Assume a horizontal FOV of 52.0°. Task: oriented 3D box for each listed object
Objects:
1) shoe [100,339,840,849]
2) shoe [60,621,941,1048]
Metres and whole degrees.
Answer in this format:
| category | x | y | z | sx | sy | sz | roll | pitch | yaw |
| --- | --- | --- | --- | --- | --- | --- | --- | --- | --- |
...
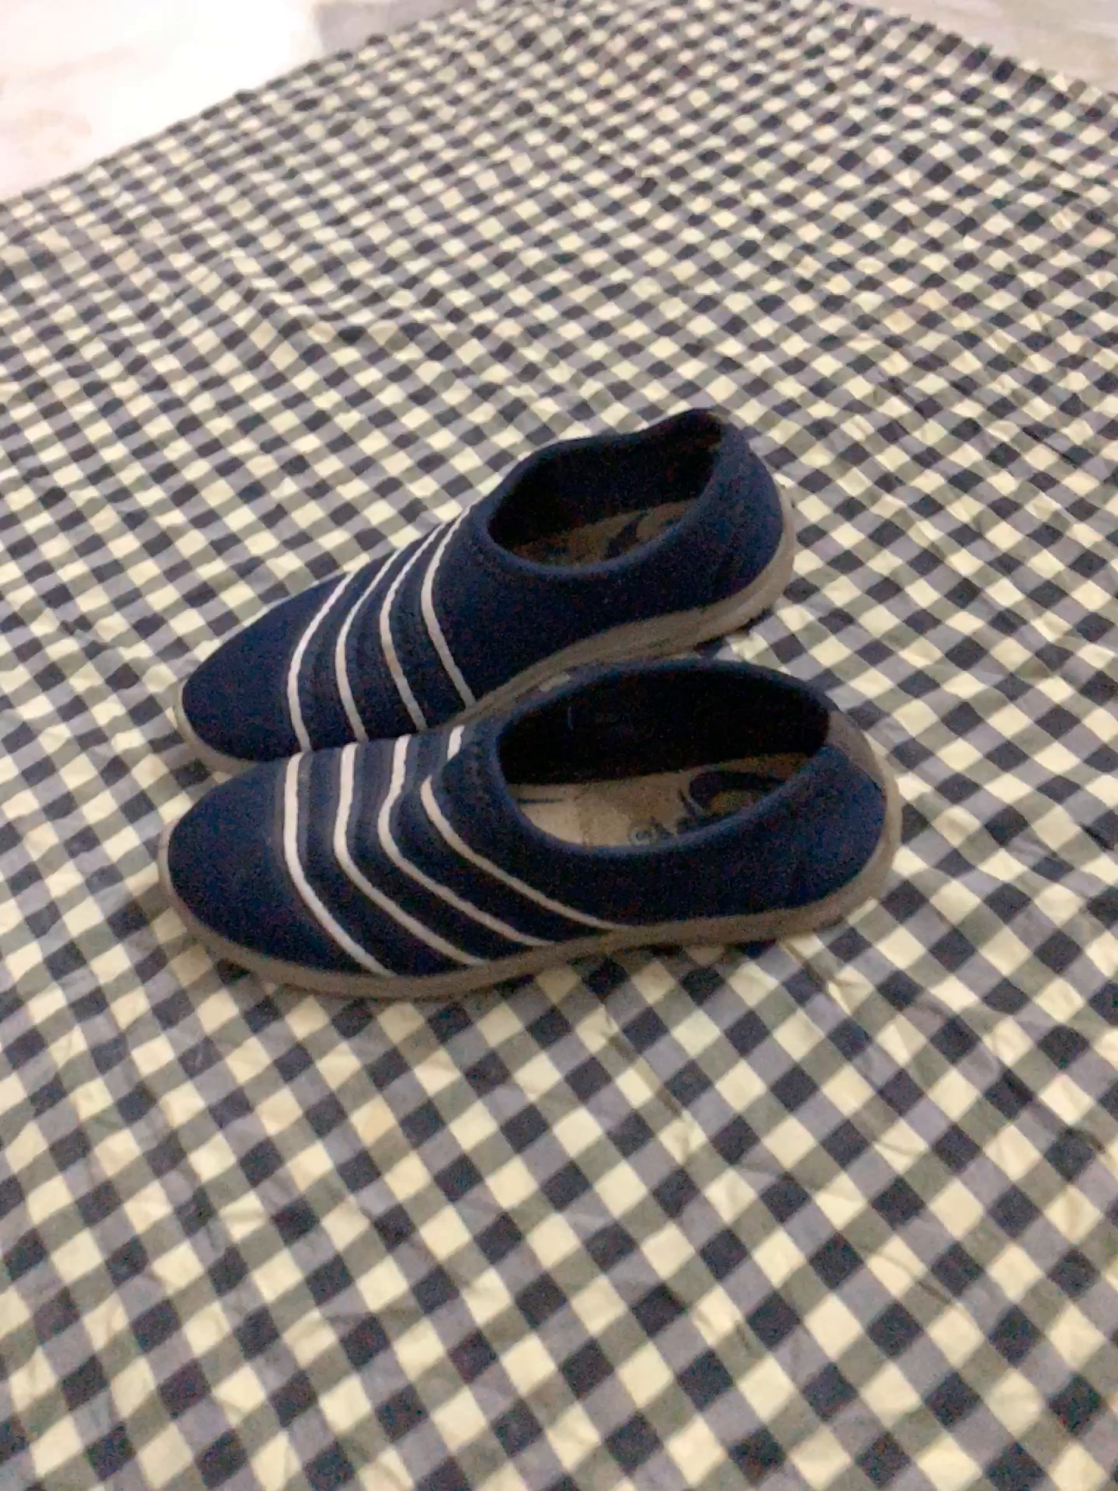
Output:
| category | x | y | z | sx | sy | sz | roll | pitch | yaw |
| --- | --- | --- | --- | --- | --- | --- | --- | --- | --- |
| shoe | -0.031 | -0.059 | 0.444 | 0.250 | 0.089 | 0.091 | -18 | 56 | -6 |
| shoe | -0.016 | 0.035 | 0.390 | 0.250 | 0.099 | 0.091 | -4 | 55 | 4 |
